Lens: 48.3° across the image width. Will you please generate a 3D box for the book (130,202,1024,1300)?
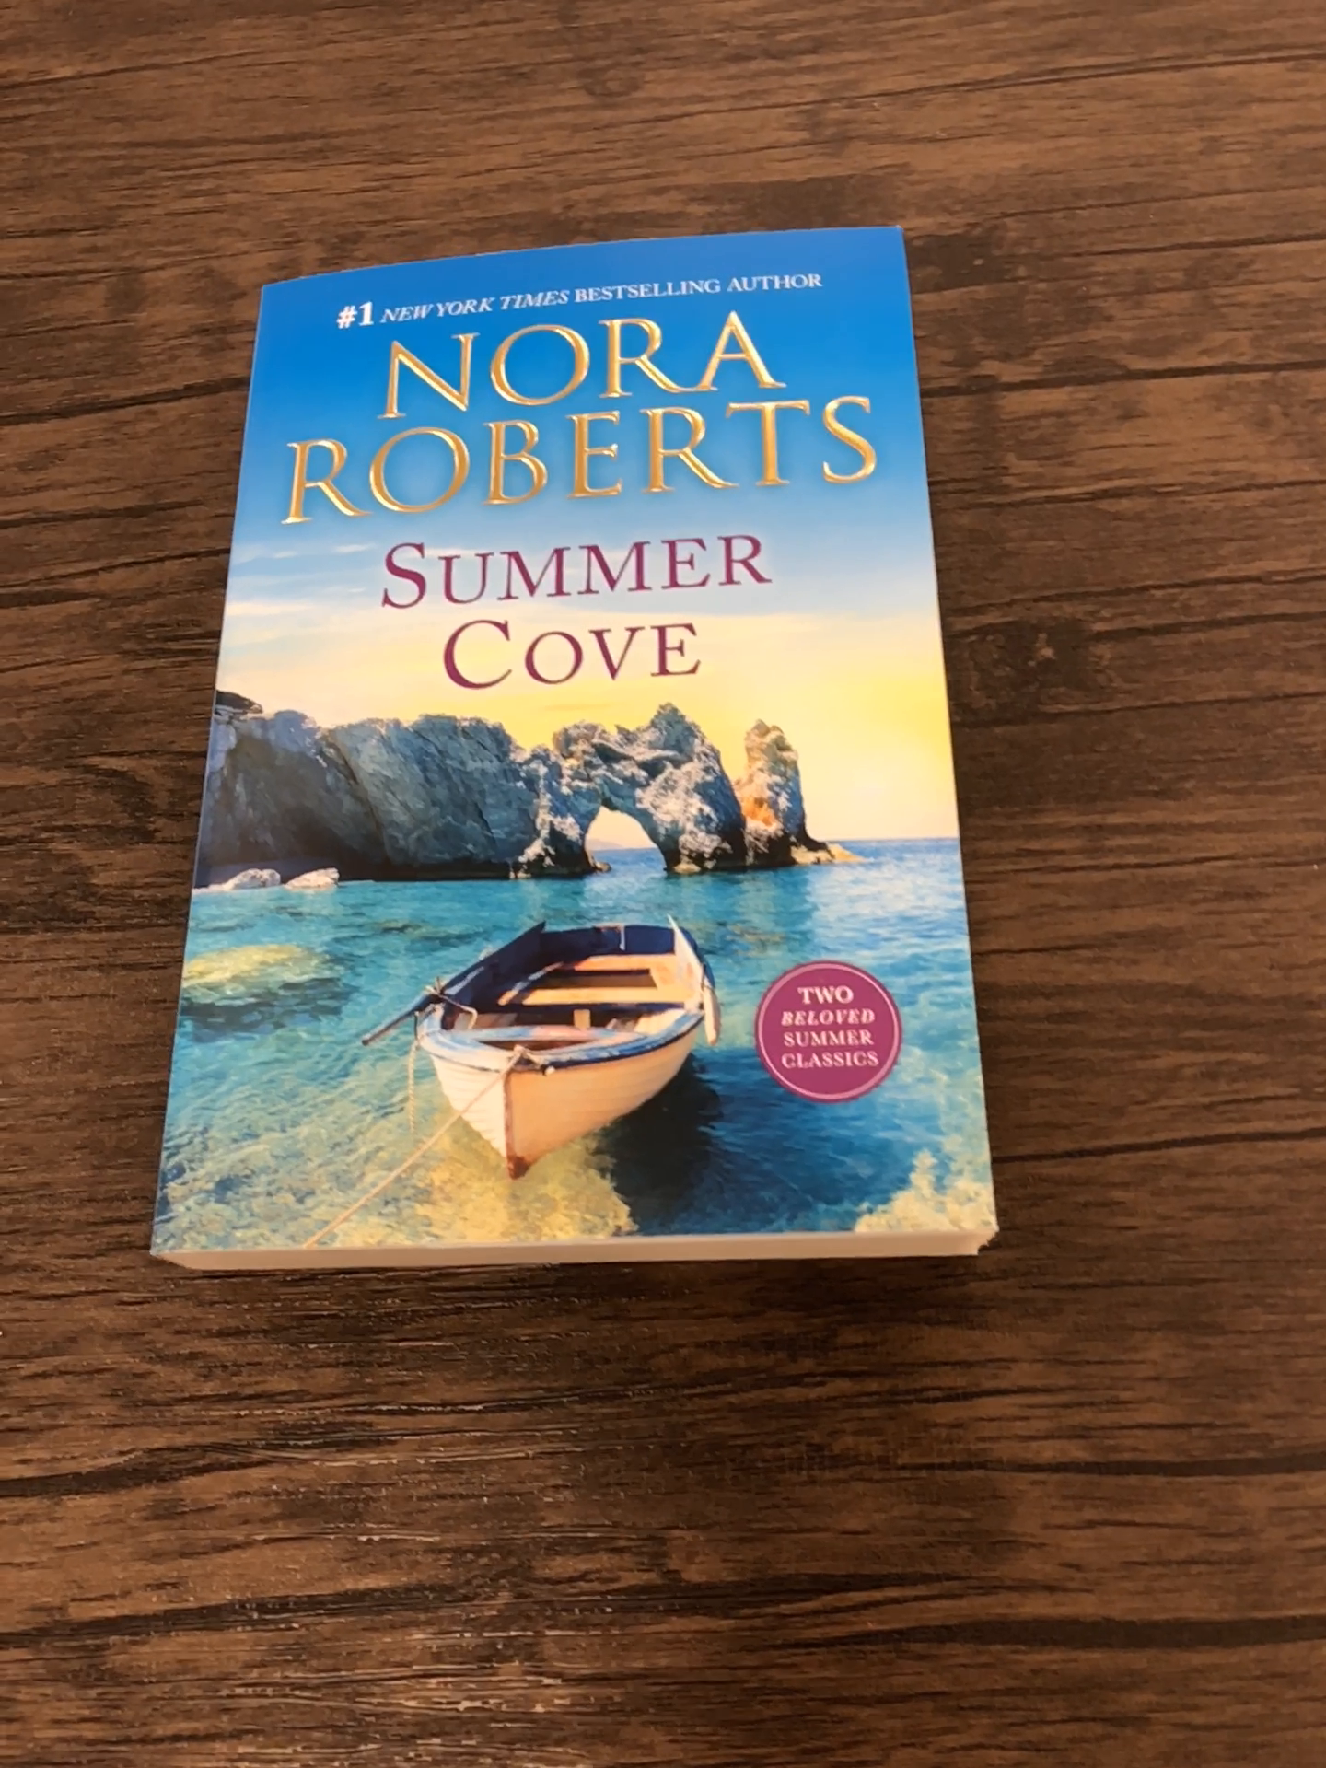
[{"bbox_3d":[-0.016,-0.032,0.290,0.140,0.043,0.210,-3,68,3],"label":"book"}]
